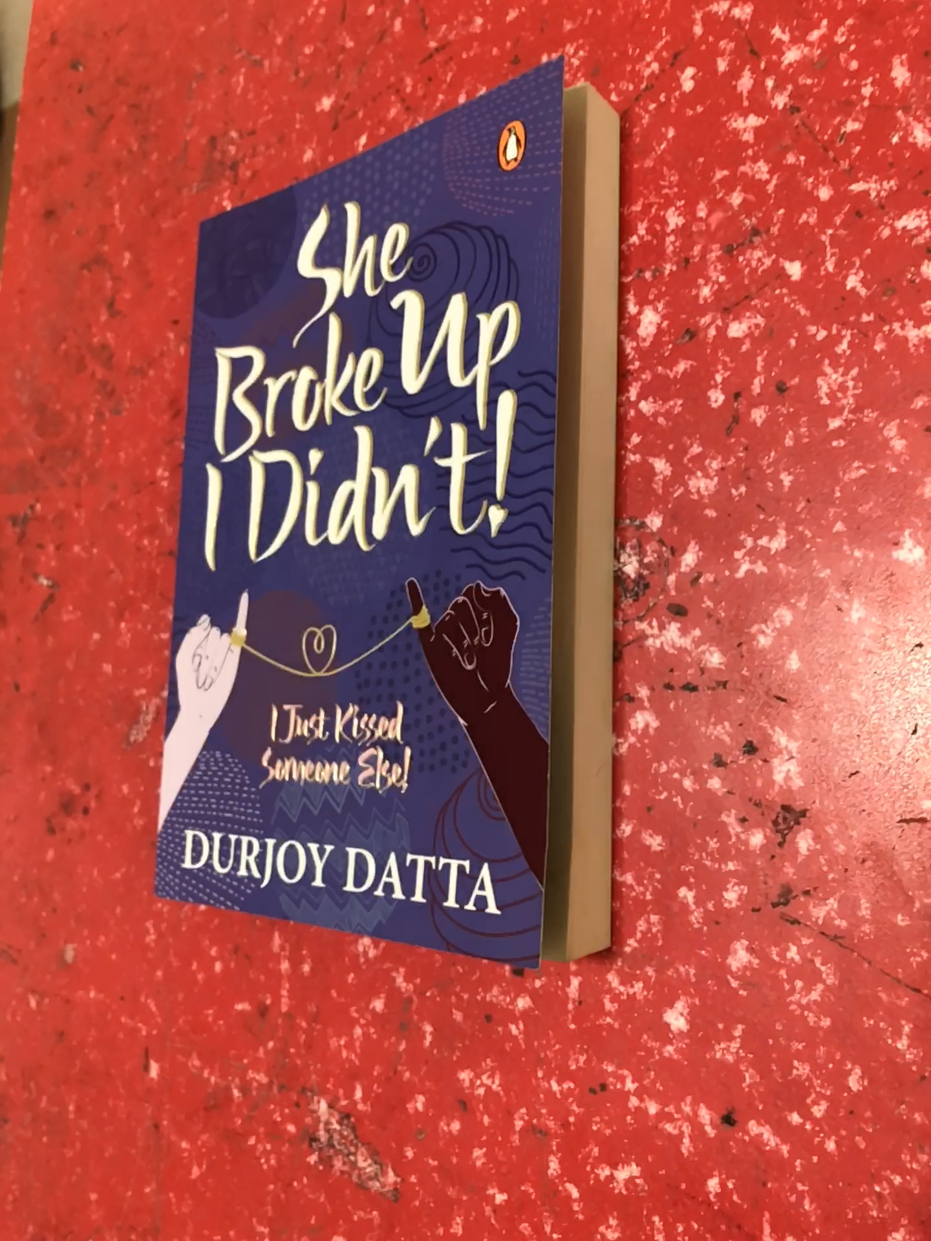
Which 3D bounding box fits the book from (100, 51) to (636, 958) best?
[{"bbox_3d":[-0.027,-0.024,0.266,0.131,0.040,0.190,-3,80,34],"label":"book"}]
